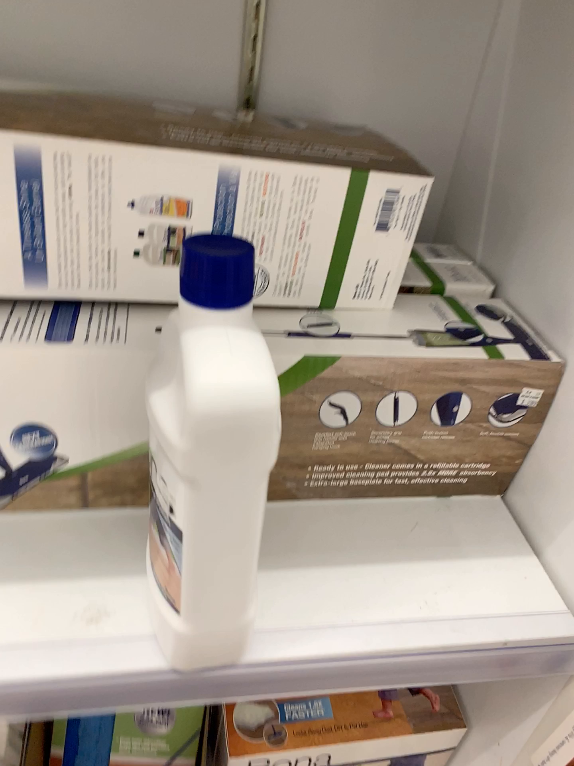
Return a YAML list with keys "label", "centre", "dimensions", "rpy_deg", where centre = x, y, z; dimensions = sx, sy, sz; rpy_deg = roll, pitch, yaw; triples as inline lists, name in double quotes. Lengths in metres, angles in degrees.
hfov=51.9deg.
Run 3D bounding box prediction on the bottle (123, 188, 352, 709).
- label: "bottle"
  centre: [-0.045, 0.042, 0.325]
  dimensions: [0.070, 0.259, 0.120]
  rpy_deg: [-5, 35, -20]
